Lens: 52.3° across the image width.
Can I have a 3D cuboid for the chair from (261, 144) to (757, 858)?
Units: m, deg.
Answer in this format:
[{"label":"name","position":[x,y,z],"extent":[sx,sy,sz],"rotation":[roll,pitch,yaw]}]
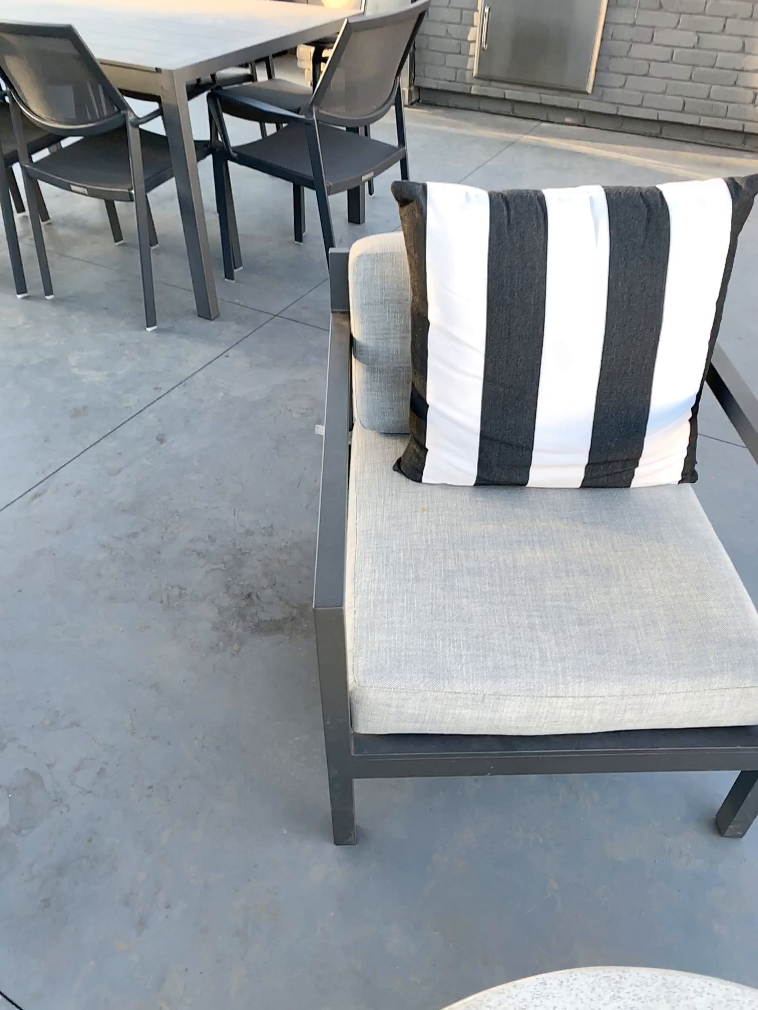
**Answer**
[{"label":"chair","position":[0.253,-0.022,1.203],"extent":[0.730,0.796,0.753],"rotation":[-1,41,-1]}]
